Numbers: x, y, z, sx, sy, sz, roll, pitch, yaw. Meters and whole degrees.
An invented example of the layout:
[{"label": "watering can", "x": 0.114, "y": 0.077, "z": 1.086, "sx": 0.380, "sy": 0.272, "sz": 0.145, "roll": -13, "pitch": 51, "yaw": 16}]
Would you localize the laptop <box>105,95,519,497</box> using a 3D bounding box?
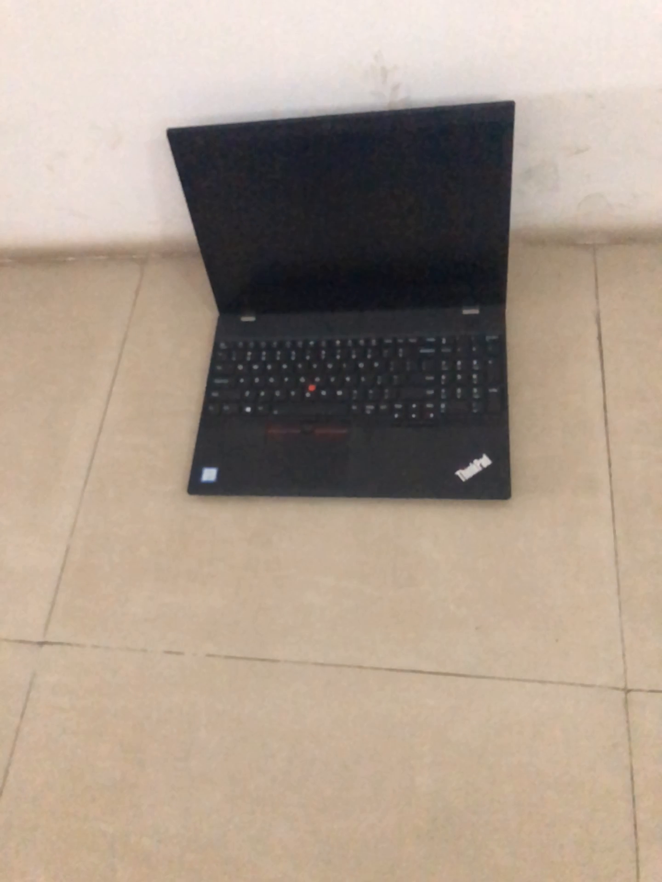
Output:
[{"label": "laptop", "x": 0.005, "y": -0.138, "z": 0.771, "sx": 0.351, "sy": 0.215, "sz": 0.328, "roll": 0, "pitch": 65, "yaw": 10}]
